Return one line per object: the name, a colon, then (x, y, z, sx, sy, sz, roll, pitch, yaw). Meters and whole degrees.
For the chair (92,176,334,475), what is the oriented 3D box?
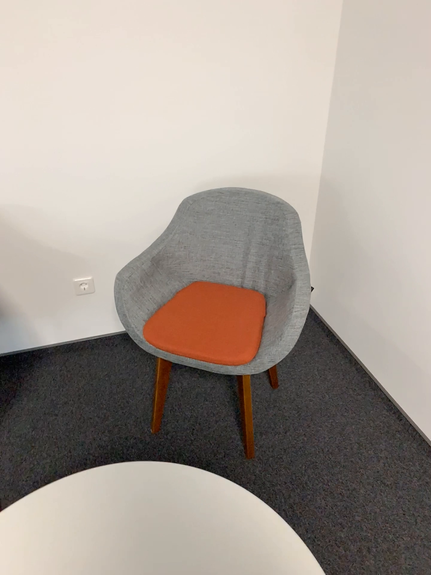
chair: (0.022, 0.113, 1.598, 0.630, 0.835, 0.503, 11, 33, 16)
